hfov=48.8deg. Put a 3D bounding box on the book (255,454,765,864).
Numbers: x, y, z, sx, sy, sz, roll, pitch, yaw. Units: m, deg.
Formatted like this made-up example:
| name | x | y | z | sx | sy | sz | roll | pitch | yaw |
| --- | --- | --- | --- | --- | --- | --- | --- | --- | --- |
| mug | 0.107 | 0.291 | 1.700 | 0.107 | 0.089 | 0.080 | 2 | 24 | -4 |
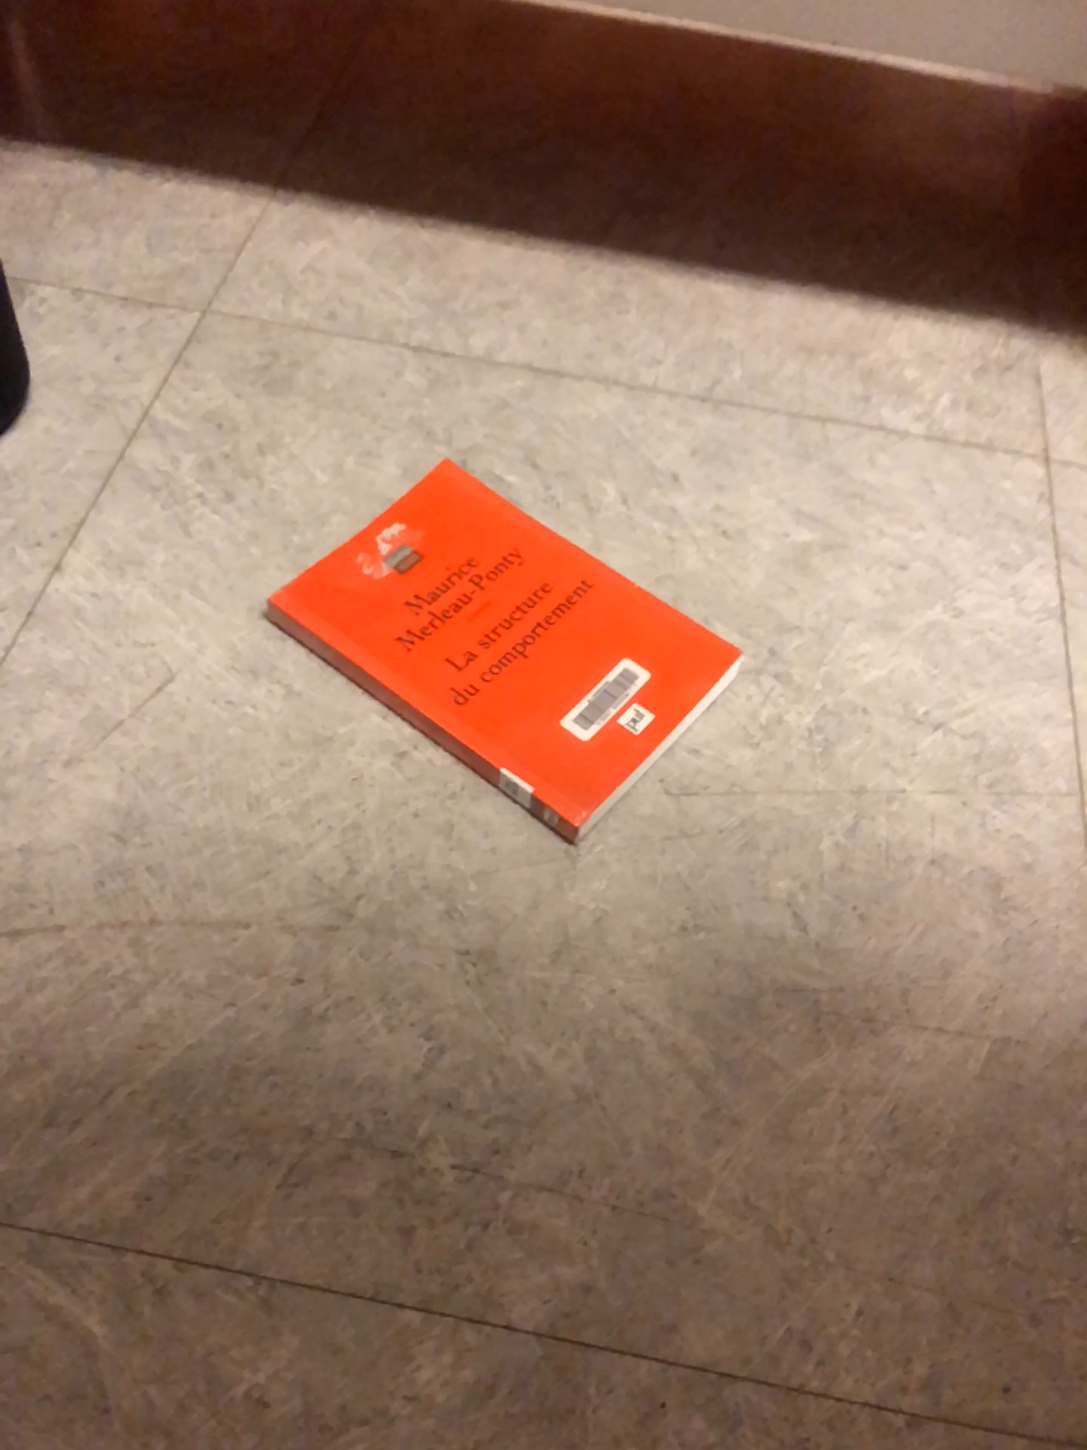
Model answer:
| name | x | y | z | sx | sy | sz | roll | pitch | yaw |
| --- | --- | --- | --- | --- | --- | --- | --- | --- | --- |
| book | -0.016 | -0.042 | 0.571 | 0.200 | 0.020 | 0.136 | 36 | 58 | 19 |
